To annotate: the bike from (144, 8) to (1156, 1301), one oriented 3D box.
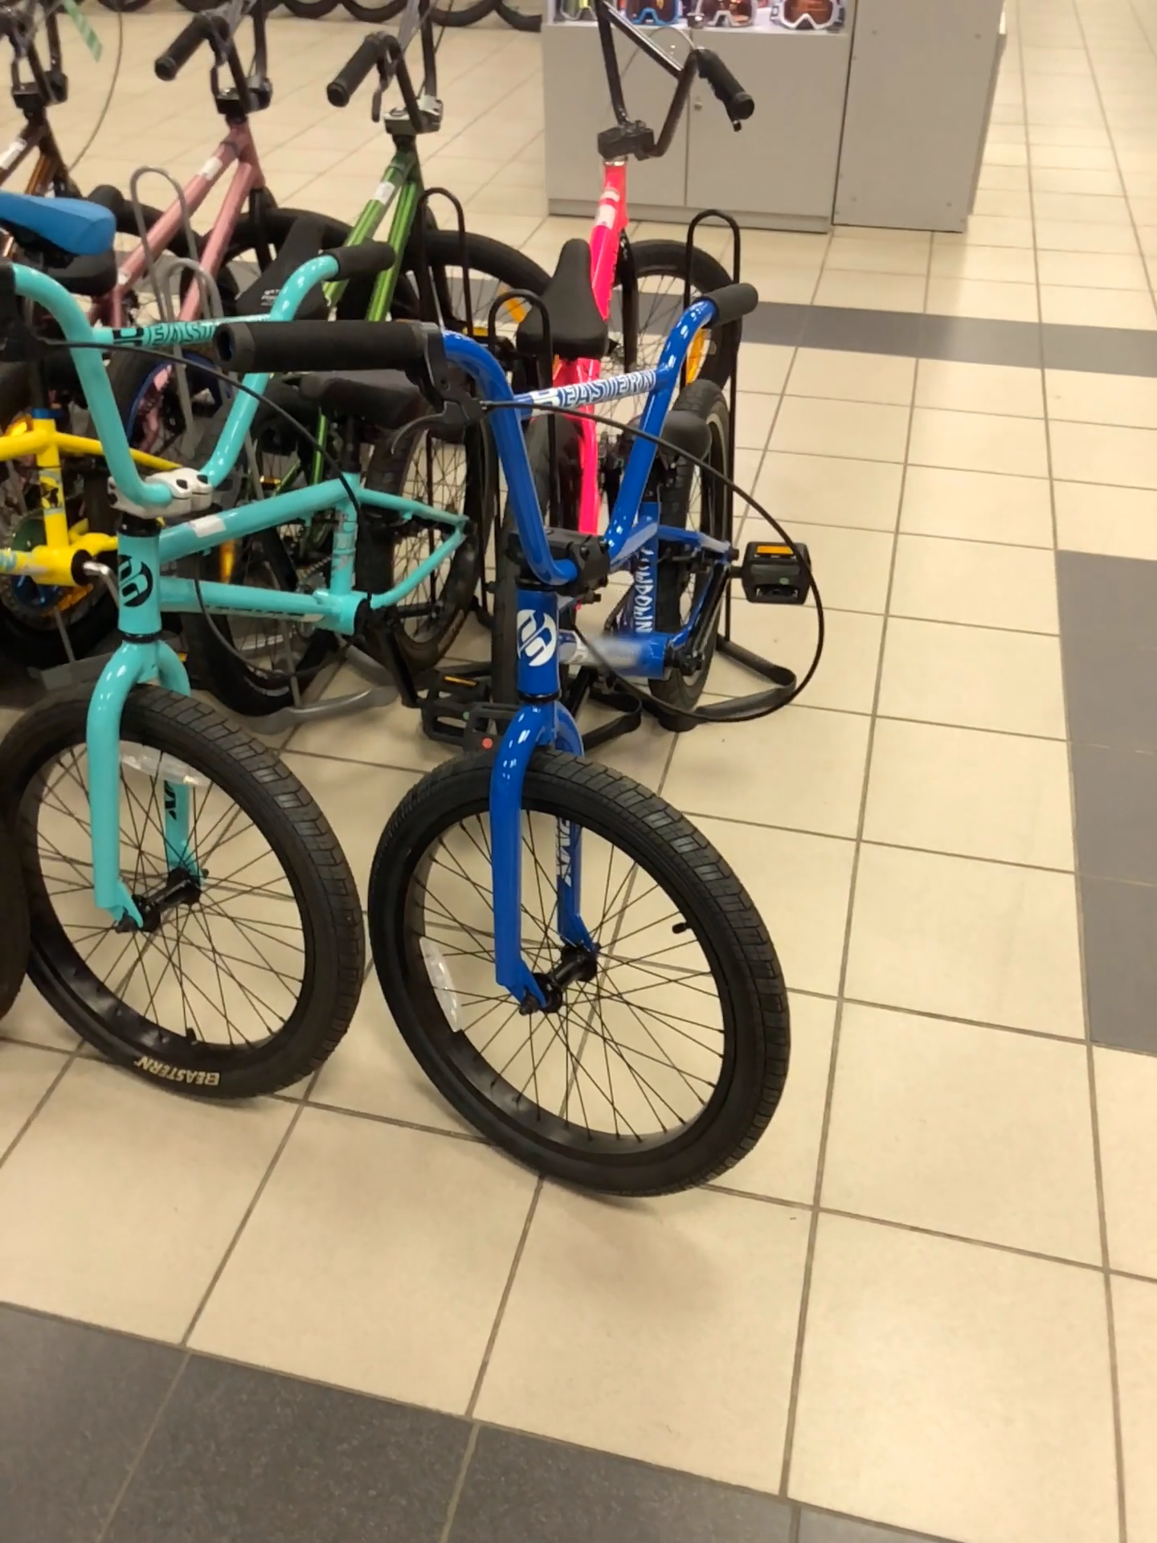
[{"bbox_3d":[0.162,-0.277,1.547,0.821,0.961,1.263,3,38,5],"label":"bike"}]
